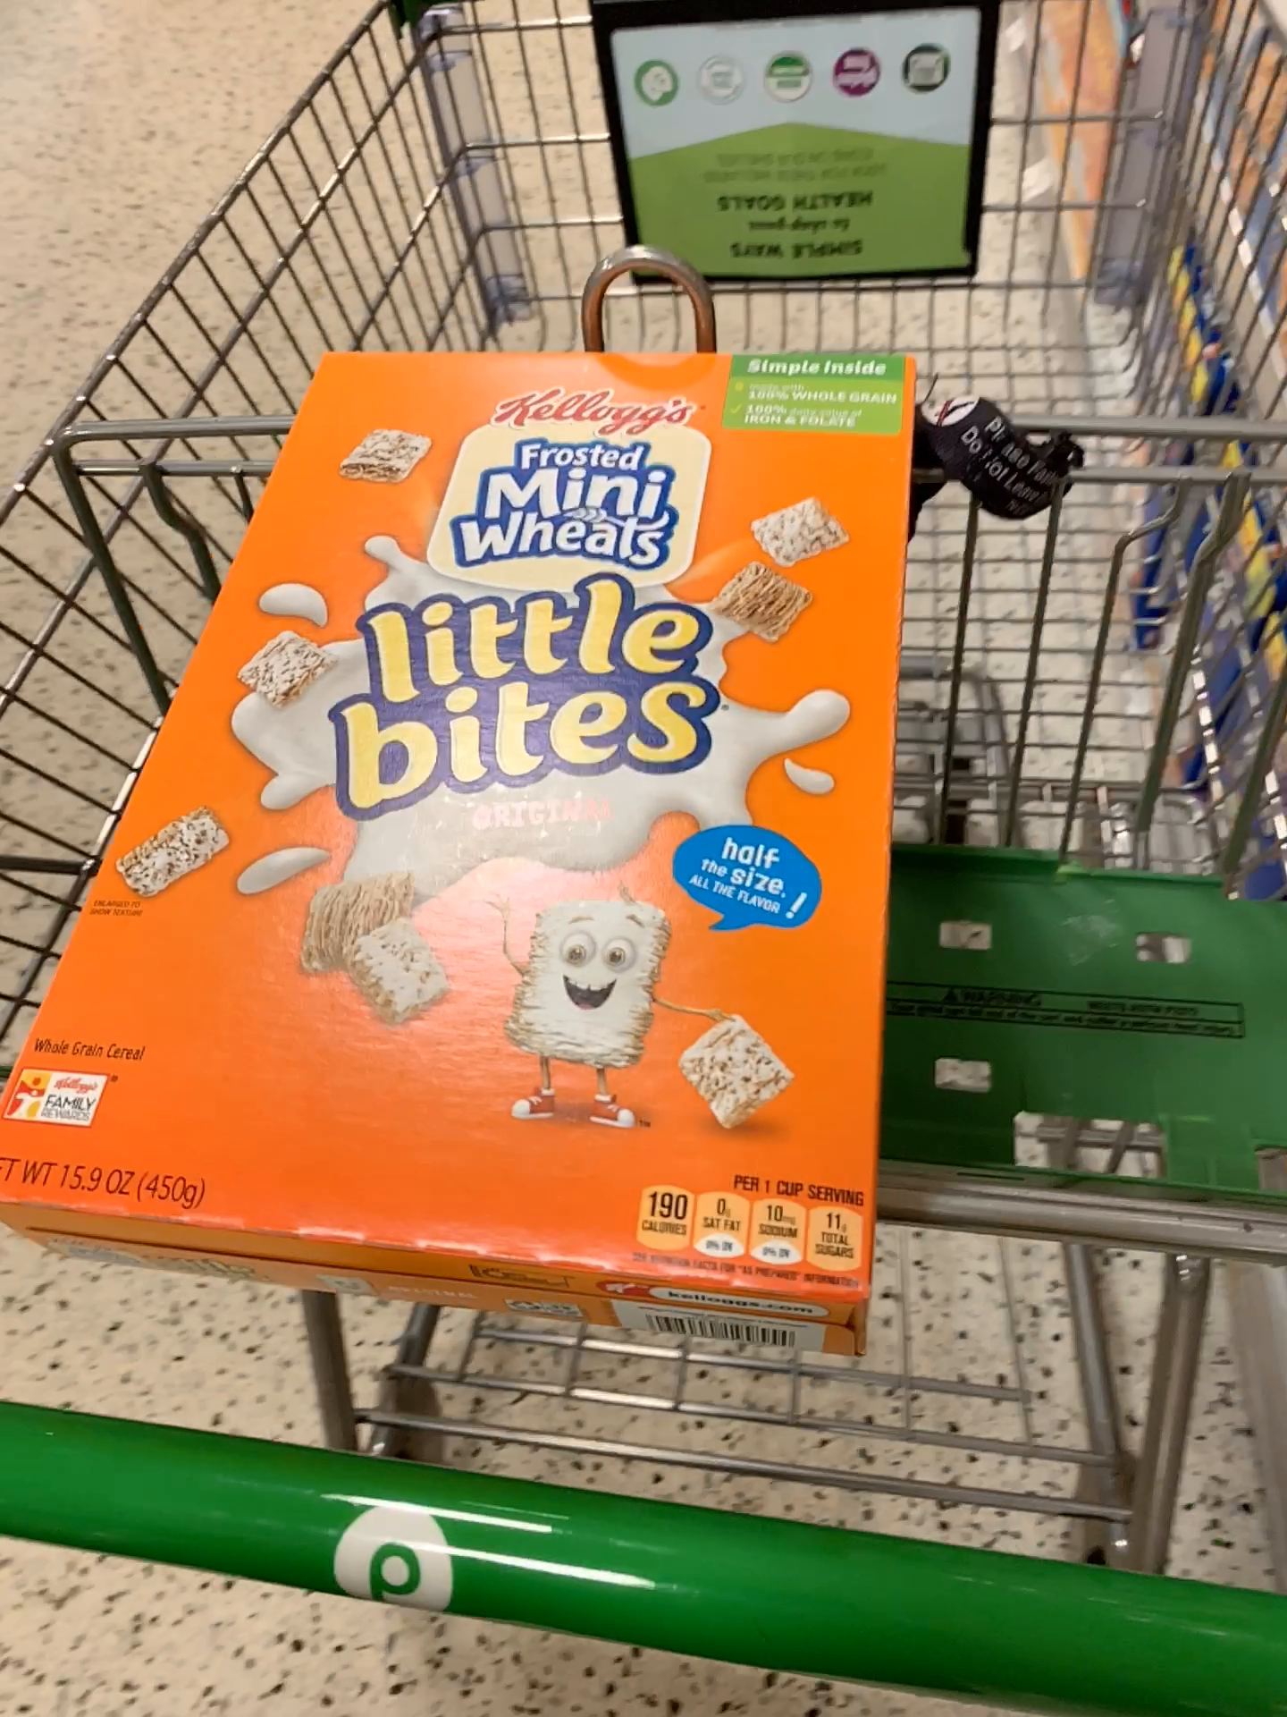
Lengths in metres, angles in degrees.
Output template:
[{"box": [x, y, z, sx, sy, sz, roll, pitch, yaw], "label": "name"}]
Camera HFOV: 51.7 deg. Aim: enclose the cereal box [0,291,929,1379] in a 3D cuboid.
[{"box": [-0.031, -0.039, 0.380, 0.210, 0.060, 0.322, 4, 56, 9], "label": "cereal box"}]
